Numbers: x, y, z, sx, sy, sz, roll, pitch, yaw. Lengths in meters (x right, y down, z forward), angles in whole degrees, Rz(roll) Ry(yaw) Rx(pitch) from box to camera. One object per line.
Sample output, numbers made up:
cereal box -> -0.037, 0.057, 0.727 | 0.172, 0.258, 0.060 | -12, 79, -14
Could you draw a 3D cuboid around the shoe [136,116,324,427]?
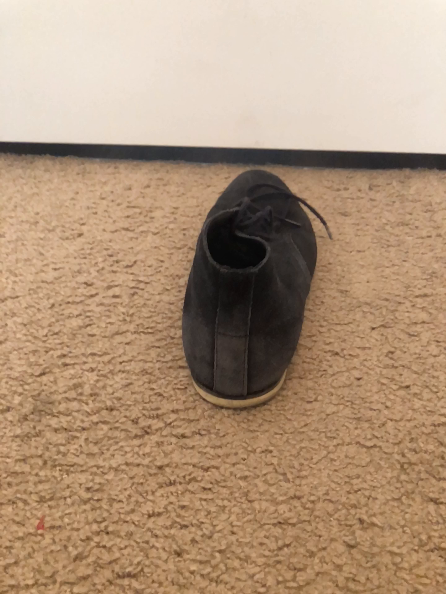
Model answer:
shoe -> 0.025, -0.046, 0.403 | 0.102, 0.095, 0.280 | 5, 41, 7
